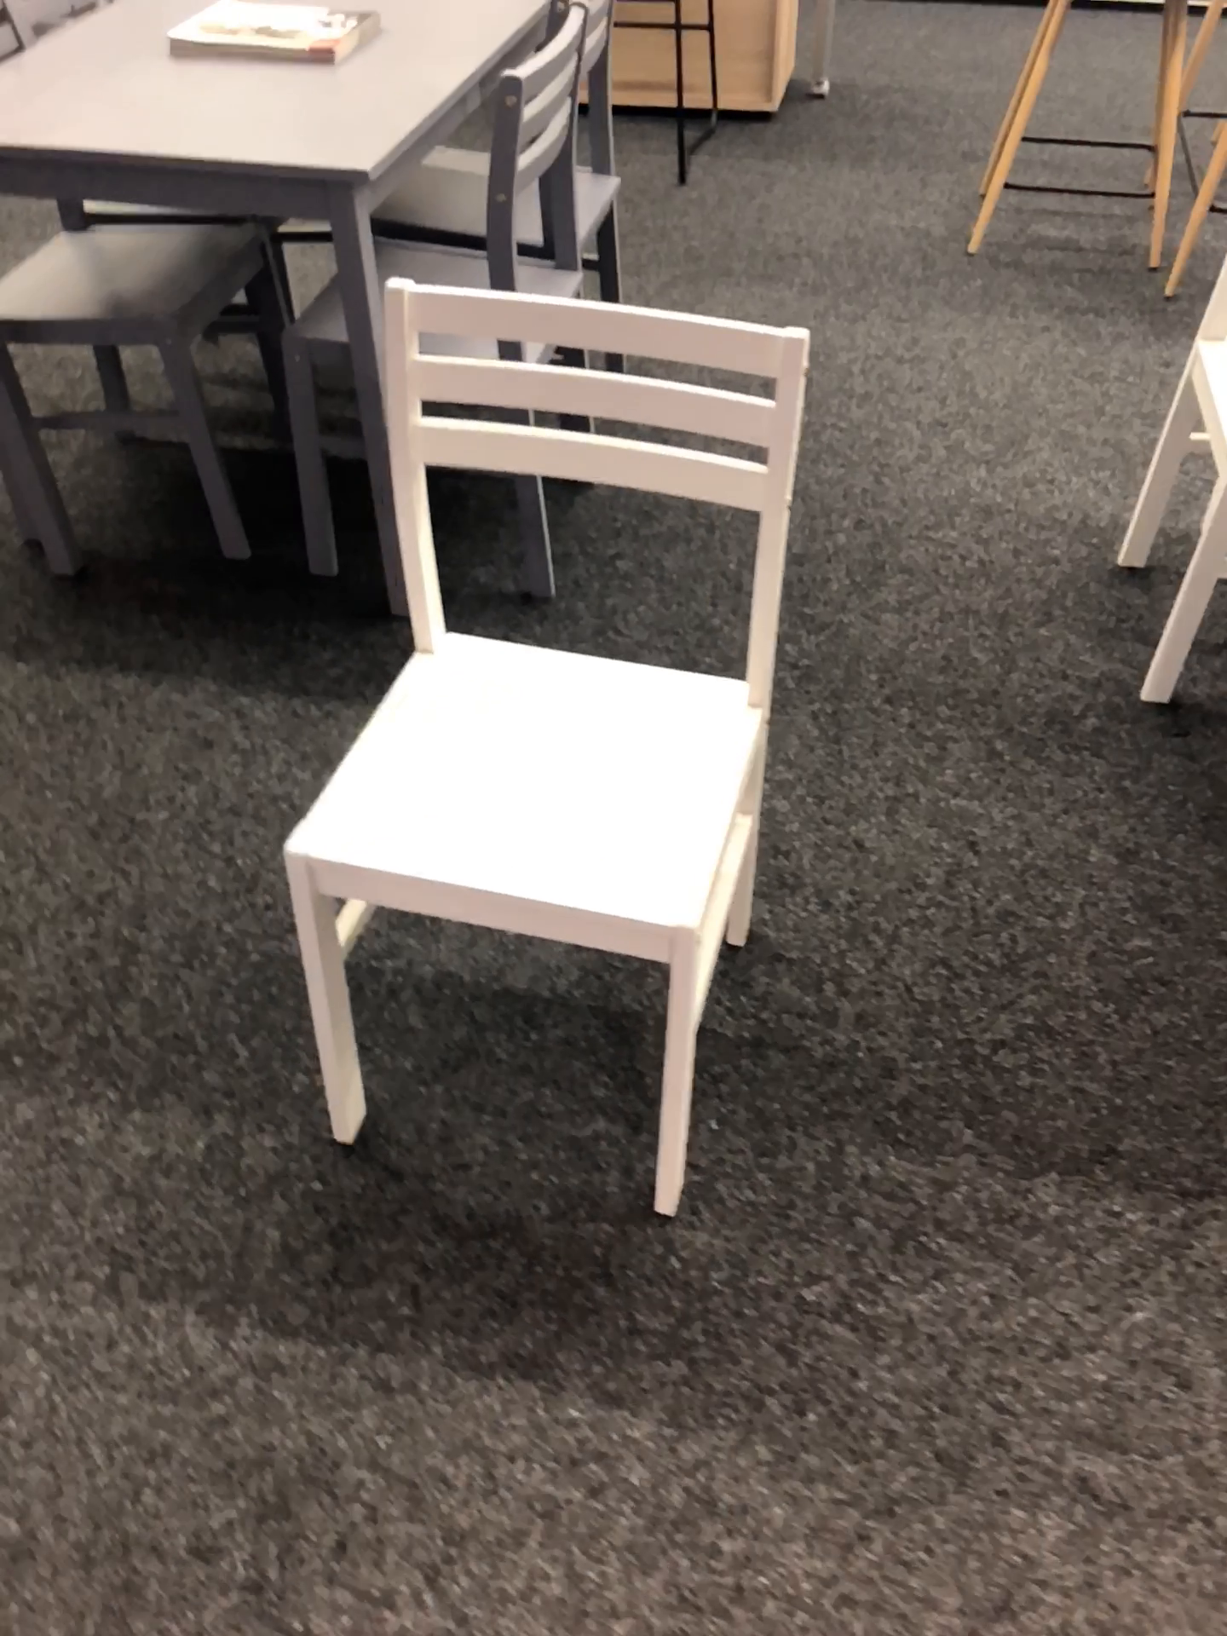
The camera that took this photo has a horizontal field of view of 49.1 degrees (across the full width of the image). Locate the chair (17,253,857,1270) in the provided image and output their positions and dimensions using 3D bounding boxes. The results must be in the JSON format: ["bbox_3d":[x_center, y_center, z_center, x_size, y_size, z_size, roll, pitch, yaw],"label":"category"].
[{"bbox_3d":[-0.089,-0.041,1.293,0.500,0.765,0.503,10,44,11],"label":"chair"}]
